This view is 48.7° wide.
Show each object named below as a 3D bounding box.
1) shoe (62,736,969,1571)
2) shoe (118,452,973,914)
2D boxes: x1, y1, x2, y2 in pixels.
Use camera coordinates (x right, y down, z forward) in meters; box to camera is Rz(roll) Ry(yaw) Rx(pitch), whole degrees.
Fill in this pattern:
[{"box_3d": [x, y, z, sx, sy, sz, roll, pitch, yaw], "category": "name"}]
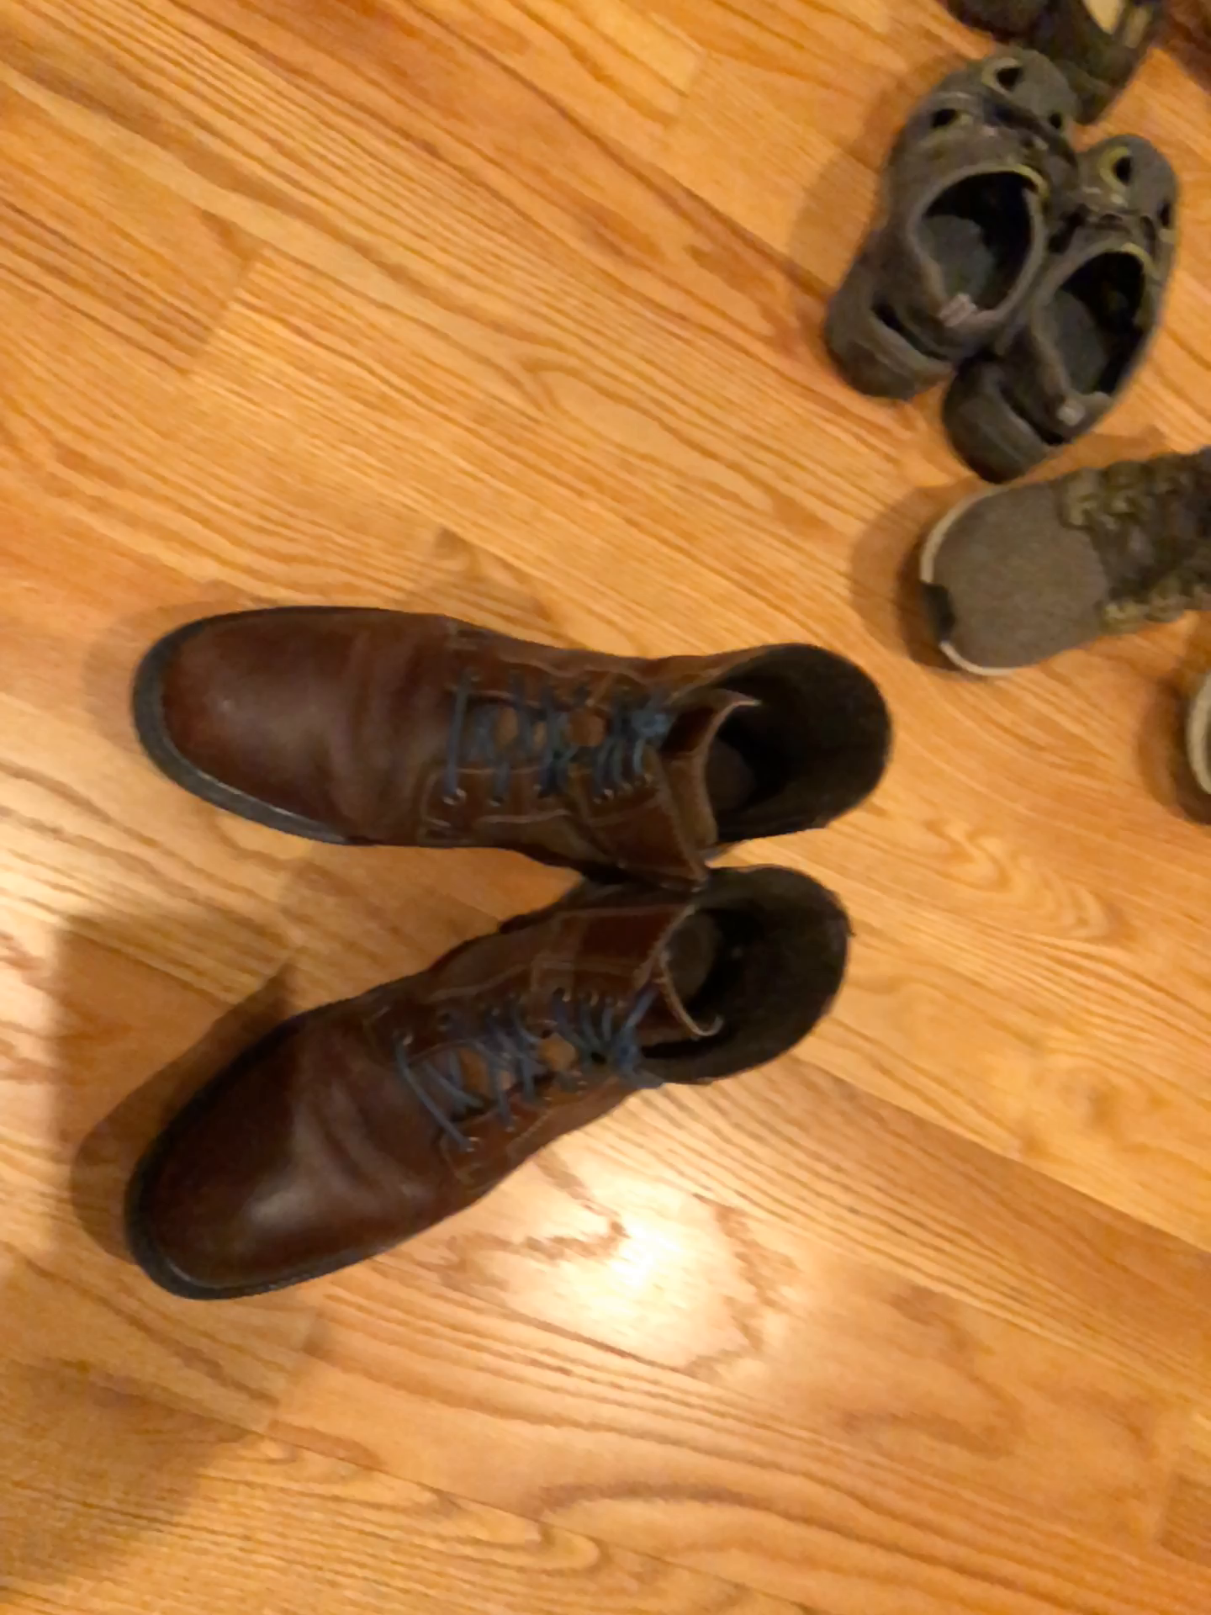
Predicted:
[{"box_3d": [-0.042, 0.111, 0.540, 0.304, 0.177, 0.128, -32, 97, -23], "category": "shoe"}, {"box_3d": [-0.029, -0.030, 0.560, 0.310, 0.168, 0.113, 8, 81, -22], "category": "shoe"}]
